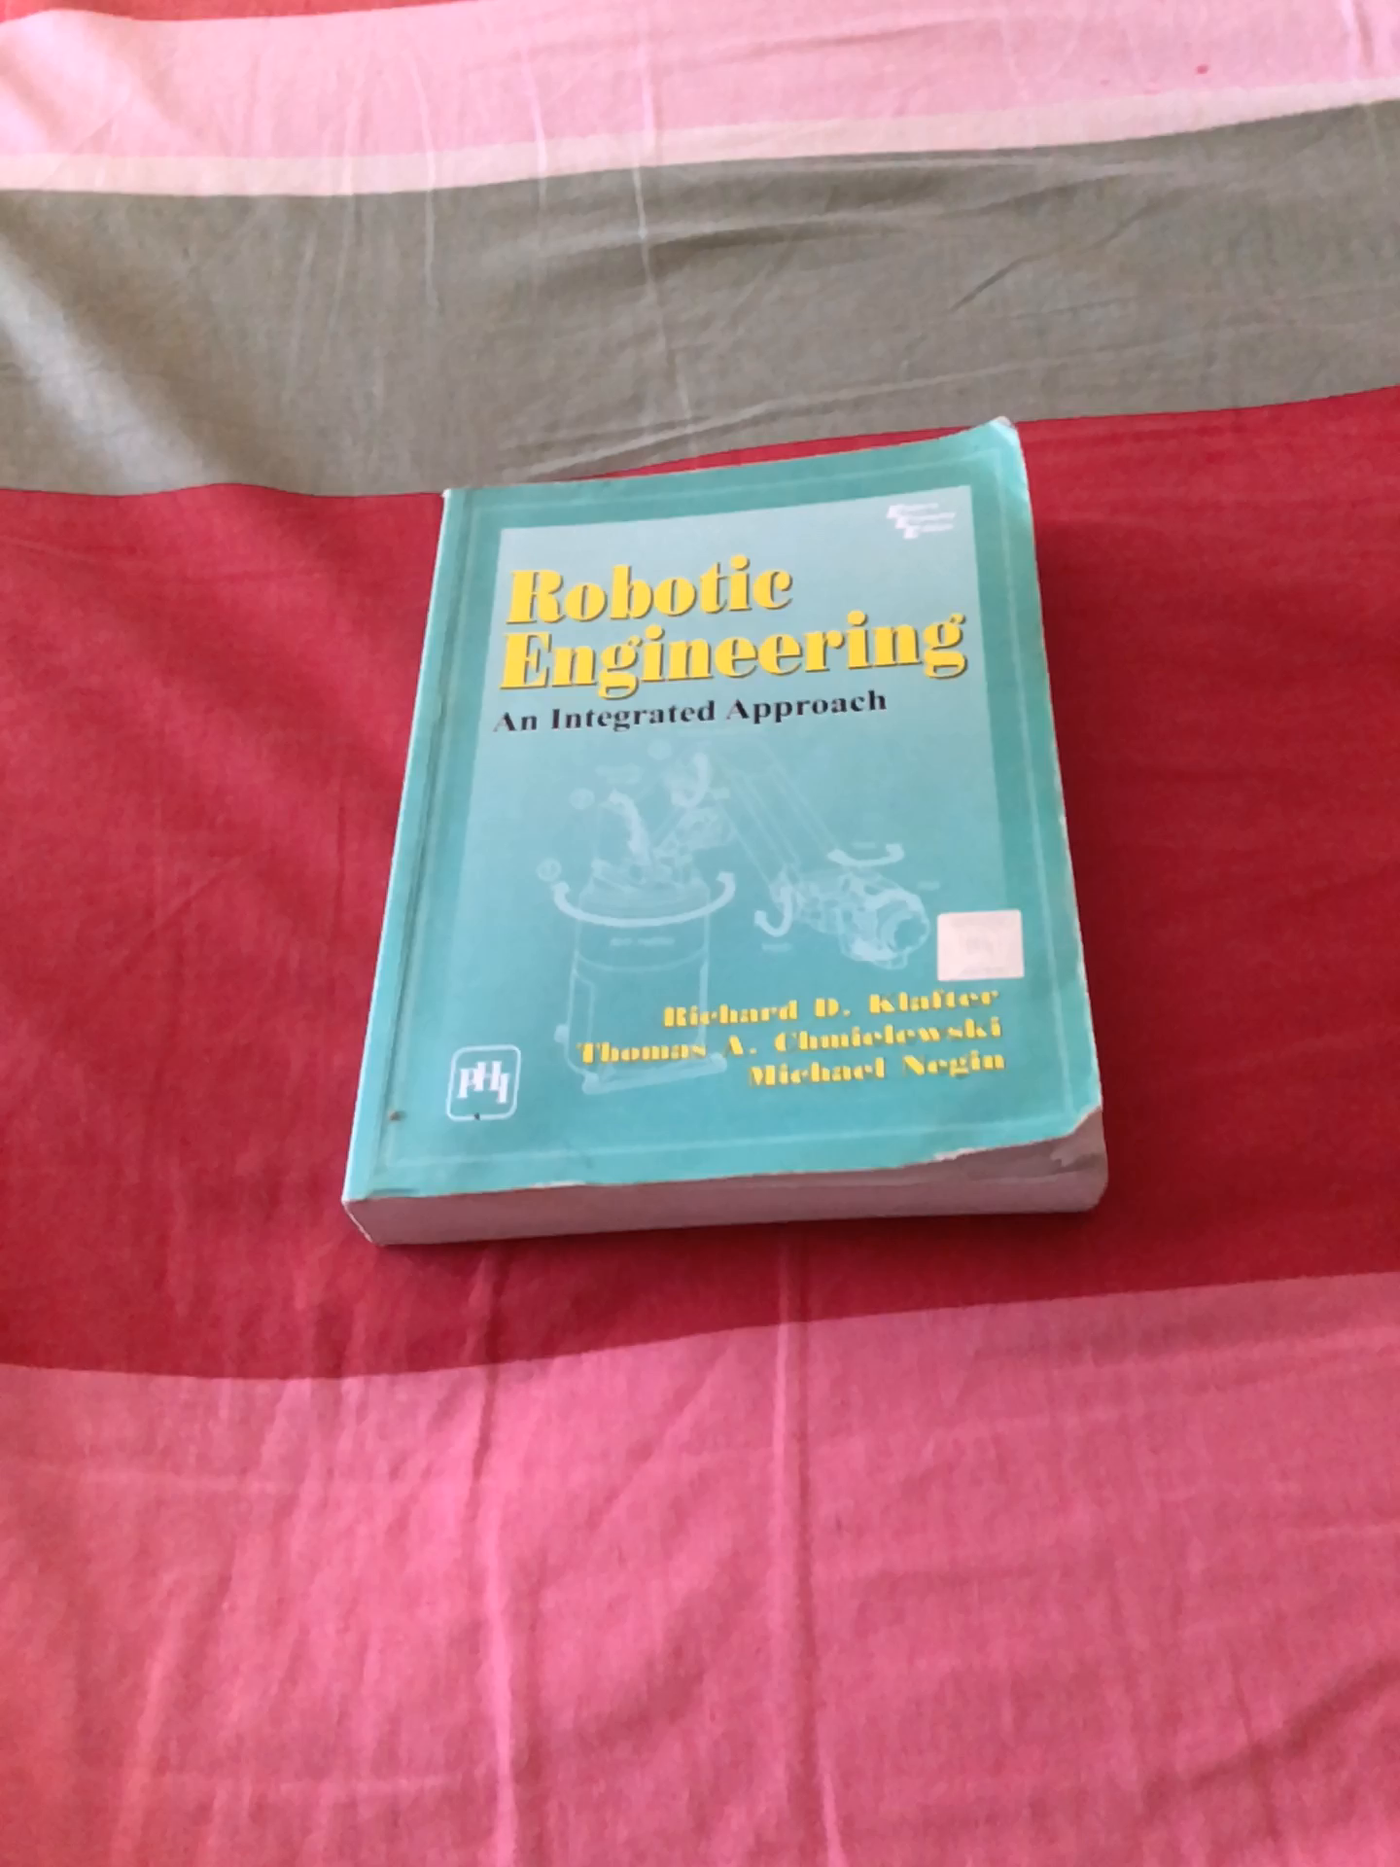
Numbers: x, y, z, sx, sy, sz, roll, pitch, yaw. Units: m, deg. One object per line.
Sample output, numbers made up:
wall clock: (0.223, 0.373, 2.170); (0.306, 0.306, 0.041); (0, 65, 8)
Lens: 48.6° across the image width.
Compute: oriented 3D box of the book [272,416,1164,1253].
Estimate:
book: (0.005, -0.031, 0.370); (0.171, 0.043, 0.205); (-2, 58, 6)
